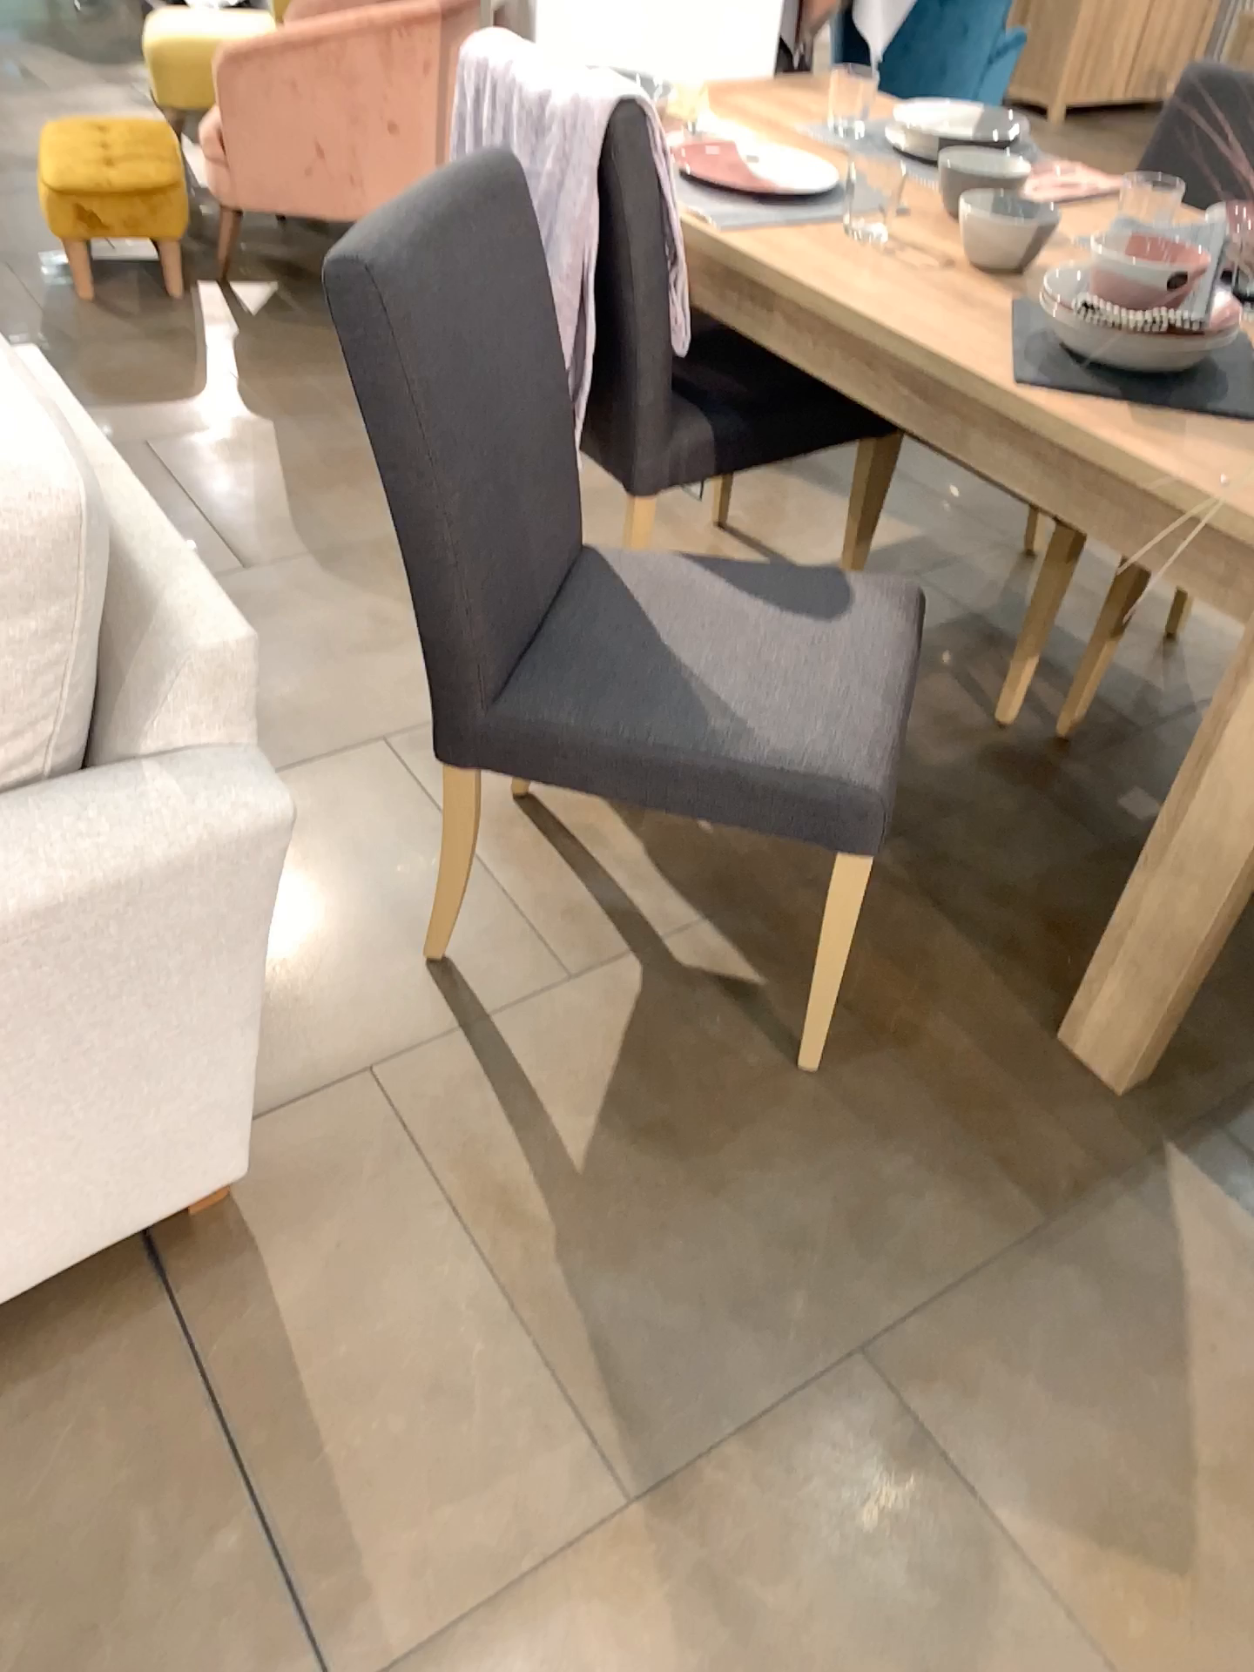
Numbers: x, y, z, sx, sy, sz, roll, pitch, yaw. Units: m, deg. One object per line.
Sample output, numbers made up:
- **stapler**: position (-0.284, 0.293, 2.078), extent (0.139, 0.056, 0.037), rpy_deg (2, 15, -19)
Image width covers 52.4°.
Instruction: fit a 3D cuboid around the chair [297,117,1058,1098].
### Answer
- **chair**: position (0.053, -0.248, 1.497), extent (0.614, 0.889, 0.511), rpy_deg (14, 42, 10)
